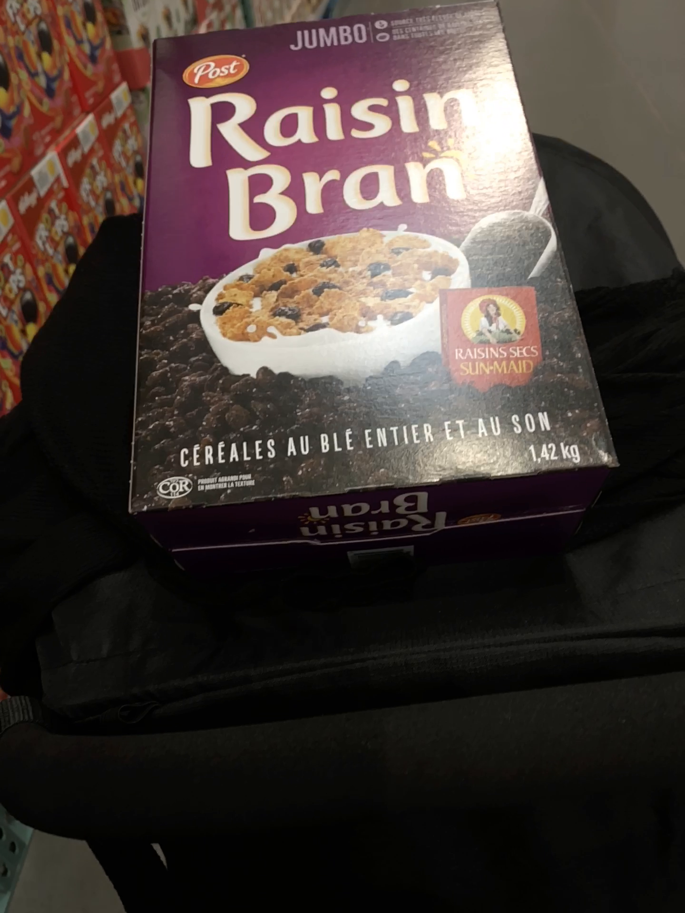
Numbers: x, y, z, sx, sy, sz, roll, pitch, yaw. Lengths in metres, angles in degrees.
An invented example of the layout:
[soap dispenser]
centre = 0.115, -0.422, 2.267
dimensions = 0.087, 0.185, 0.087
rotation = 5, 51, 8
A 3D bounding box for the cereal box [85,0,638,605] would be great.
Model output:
[cereal box]
centre = 0.000, -0.088, 0.399
dimensions = 0.210, 0.110, 0.291
rotation = -6, 65, 3
